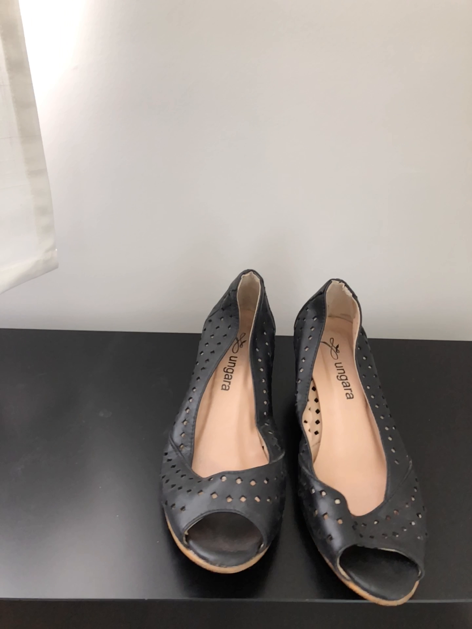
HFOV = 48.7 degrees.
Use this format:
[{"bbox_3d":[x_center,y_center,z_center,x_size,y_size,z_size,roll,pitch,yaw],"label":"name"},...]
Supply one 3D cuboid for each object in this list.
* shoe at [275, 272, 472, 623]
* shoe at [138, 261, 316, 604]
[{"bbox_3d":[0.084,0.069,0.356,0.085,0.100,0.221,2,33,-3],"label":"shoe"},{"bbox_3d":[-0.007,0.062,0.372,0.085,0.100,0.231,3,33,-2],"label":"shoe"}]
